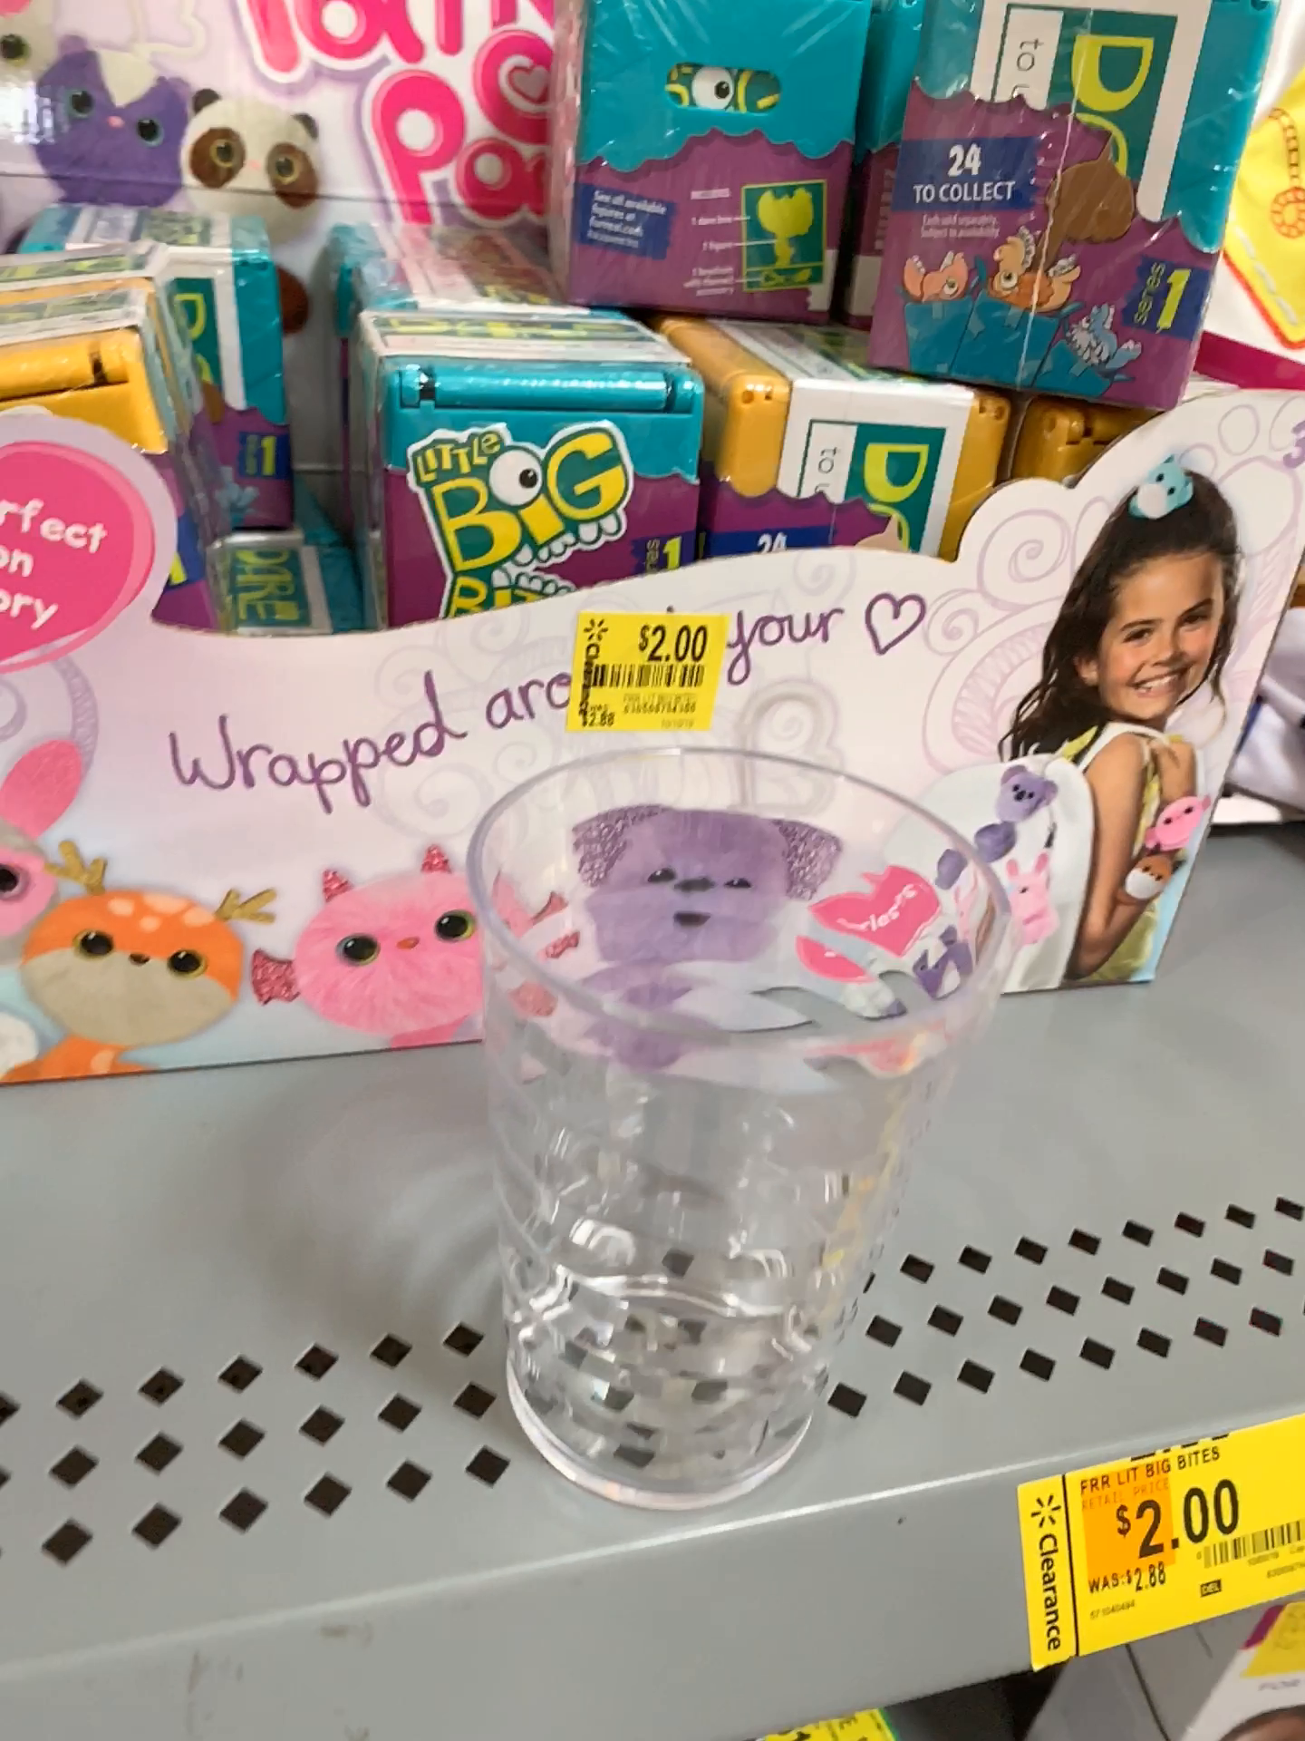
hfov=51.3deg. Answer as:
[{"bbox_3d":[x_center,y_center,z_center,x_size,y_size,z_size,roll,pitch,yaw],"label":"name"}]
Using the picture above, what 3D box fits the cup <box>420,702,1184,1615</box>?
[{"bbox_3d":[0.010,0.040,0.205,0.079,0.107,0.070,-4,34,-17],"label":"cup"}]
